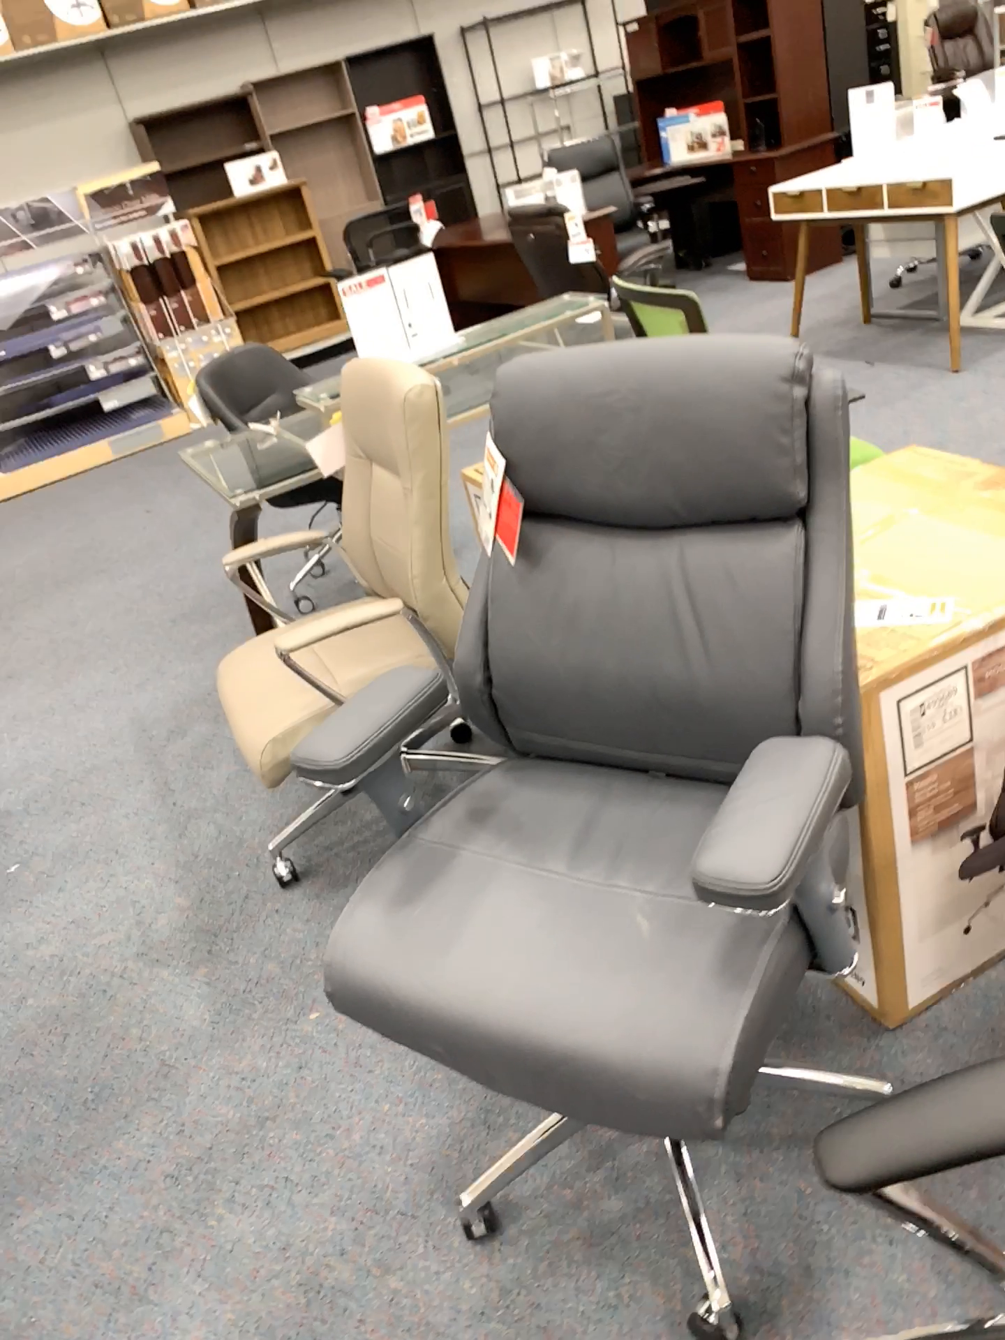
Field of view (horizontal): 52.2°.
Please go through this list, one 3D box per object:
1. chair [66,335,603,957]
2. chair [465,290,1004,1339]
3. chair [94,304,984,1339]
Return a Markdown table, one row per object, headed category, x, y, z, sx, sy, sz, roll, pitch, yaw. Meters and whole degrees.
| category | x | y | z | sx | sy | sz | roll | pitch | yaw |
| --- | --- | --- | --- | --- | --- | --- | --- | --- | --- |
| chair | -0.374 | -0.114 | 2.276 | 0.715 | 0.976 | 0.788 | -25 | 29 | -16 |
| chair | 0.505 | 0.525 | 0.528 | 0.784 | 1.095 | 0.768 | -13 | 28 | 5 |
| chair | 0.174 | 0.201 | 1.319 | 0.695 | 1.075 | 0.697 | 6 | 35 | 29 |
